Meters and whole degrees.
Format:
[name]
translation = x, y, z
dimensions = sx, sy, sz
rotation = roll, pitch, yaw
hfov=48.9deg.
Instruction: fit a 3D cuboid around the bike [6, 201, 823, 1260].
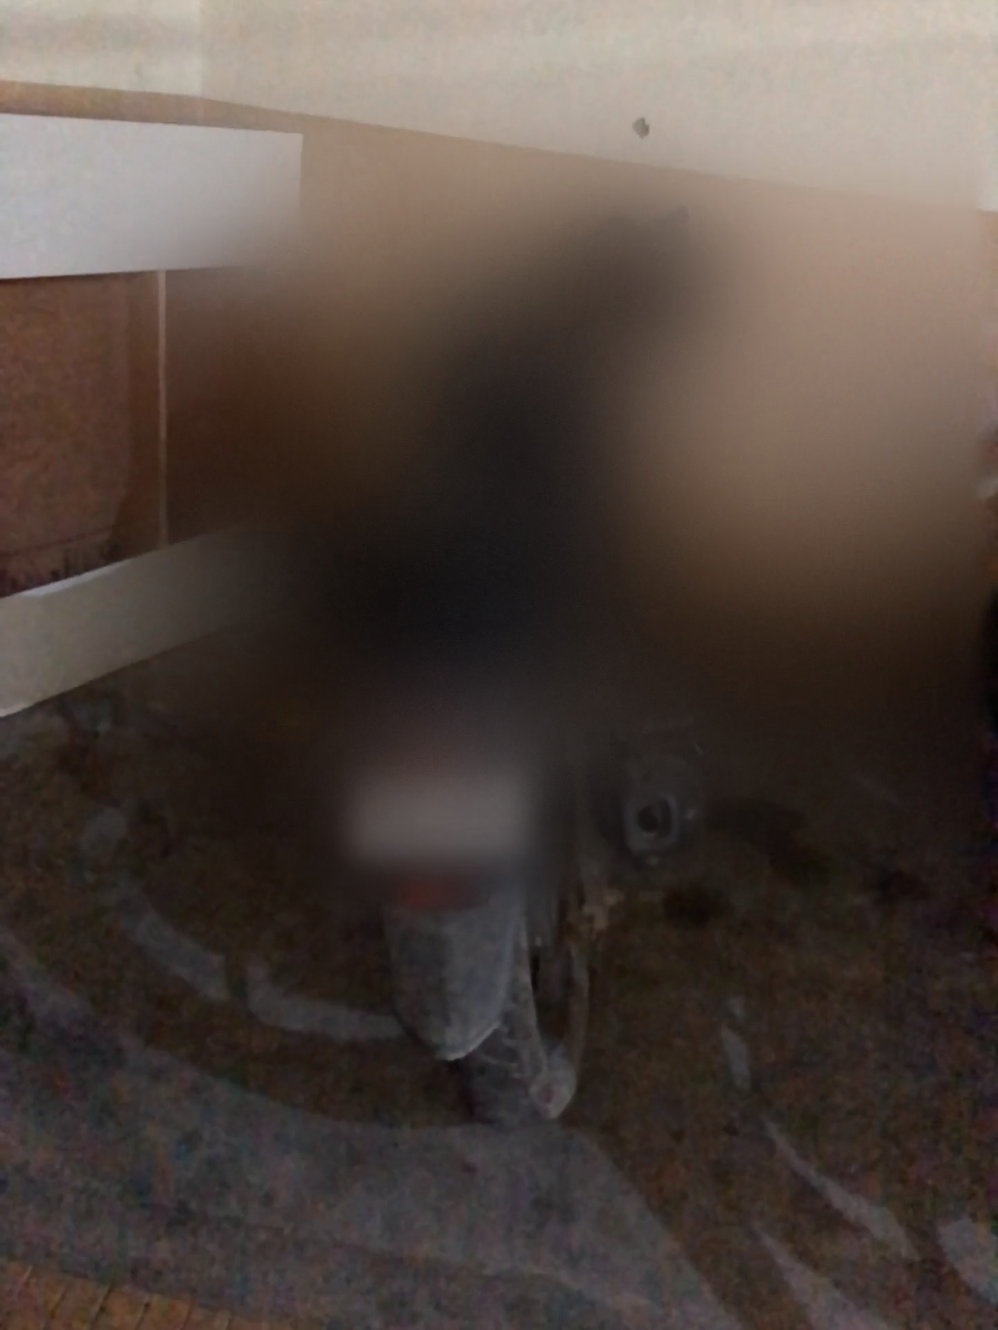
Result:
[bike]
translation = -0.074, -0.139, 1.987
dimensions = 0.717, 1.180, 1.711
rotation = 9, 25, 2
